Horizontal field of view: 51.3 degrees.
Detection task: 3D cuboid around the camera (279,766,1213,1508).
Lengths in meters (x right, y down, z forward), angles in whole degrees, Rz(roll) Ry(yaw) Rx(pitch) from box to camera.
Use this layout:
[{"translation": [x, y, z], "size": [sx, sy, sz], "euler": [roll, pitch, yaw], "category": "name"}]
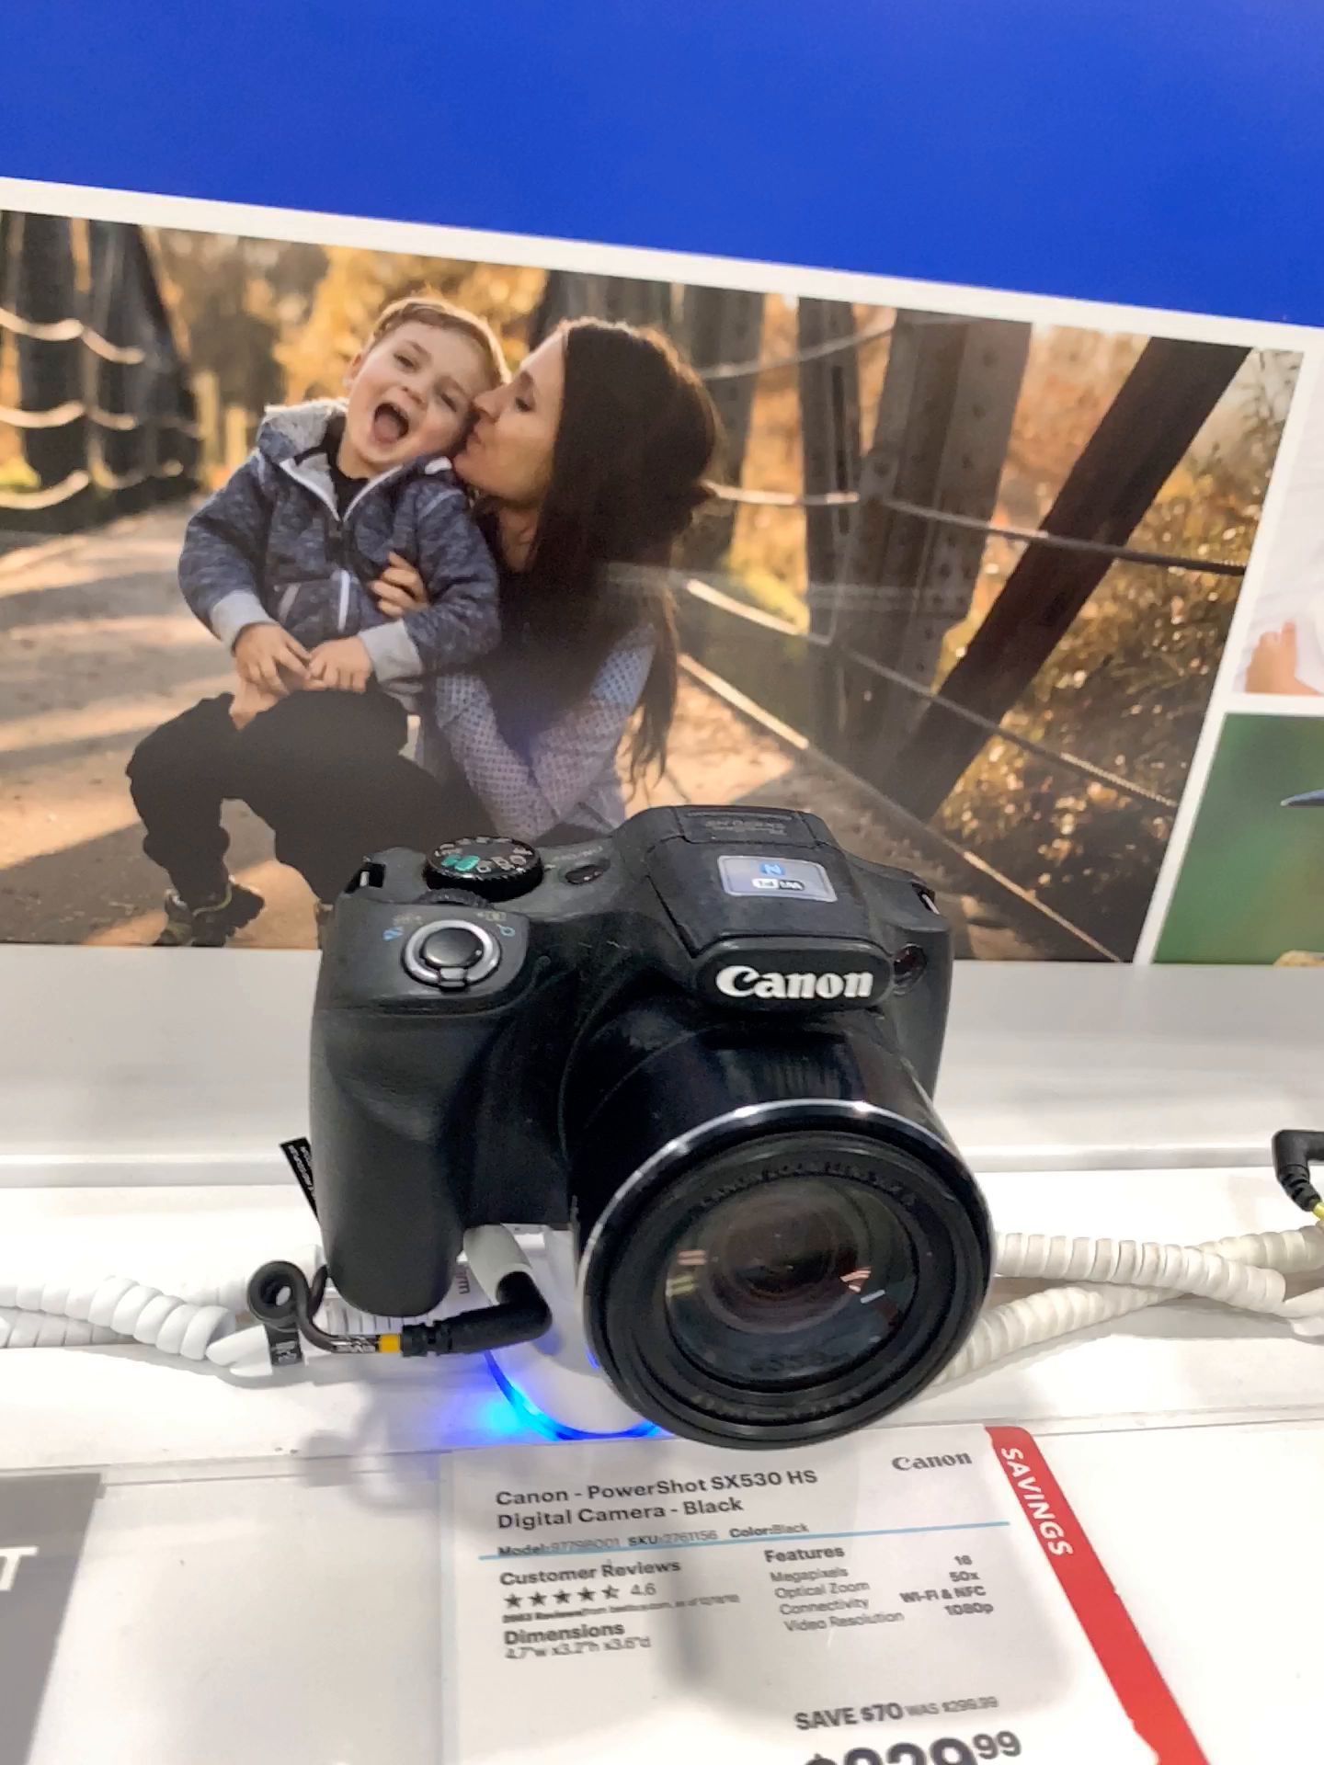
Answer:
[{"translation": [0.003, 0.035, 0.232], "size": [0.124, 0.080, 0.090], "euler": [2, 20, -13], "category": "camera"}]
